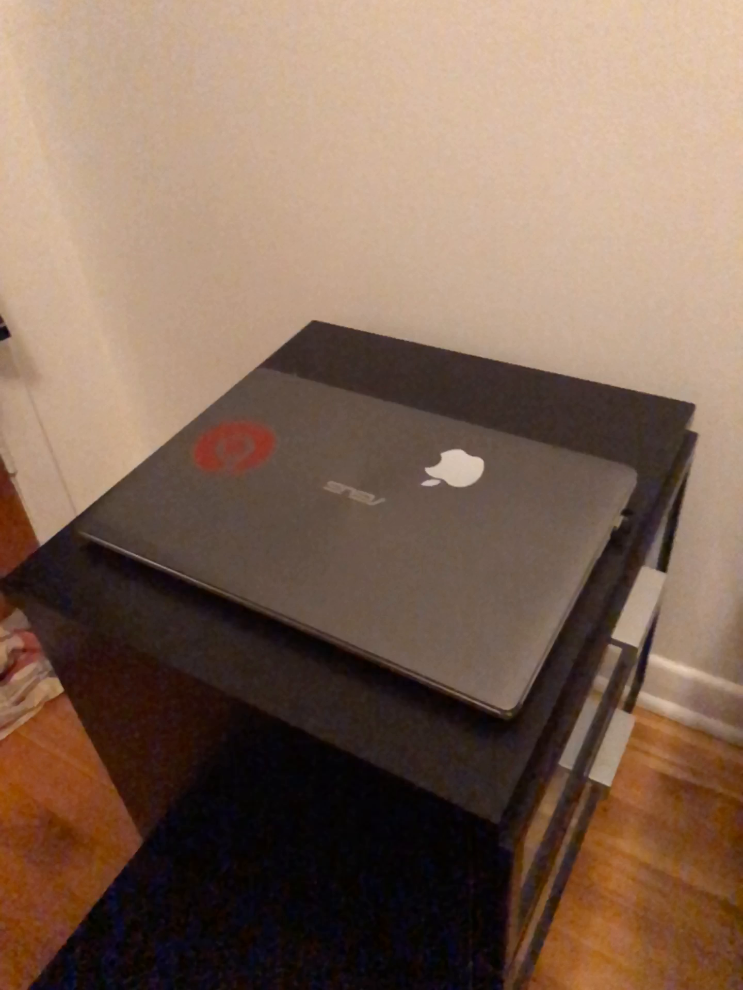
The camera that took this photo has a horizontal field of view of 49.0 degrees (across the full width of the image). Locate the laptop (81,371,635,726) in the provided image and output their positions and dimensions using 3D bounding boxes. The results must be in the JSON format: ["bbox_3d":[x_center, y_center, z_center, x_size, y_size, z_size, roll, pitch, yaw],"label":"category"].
[{"bbox_3d":[-0.013,0.008,0.654,0.374,0.010,0.249,18,47,27],"label":"laptop"}]
